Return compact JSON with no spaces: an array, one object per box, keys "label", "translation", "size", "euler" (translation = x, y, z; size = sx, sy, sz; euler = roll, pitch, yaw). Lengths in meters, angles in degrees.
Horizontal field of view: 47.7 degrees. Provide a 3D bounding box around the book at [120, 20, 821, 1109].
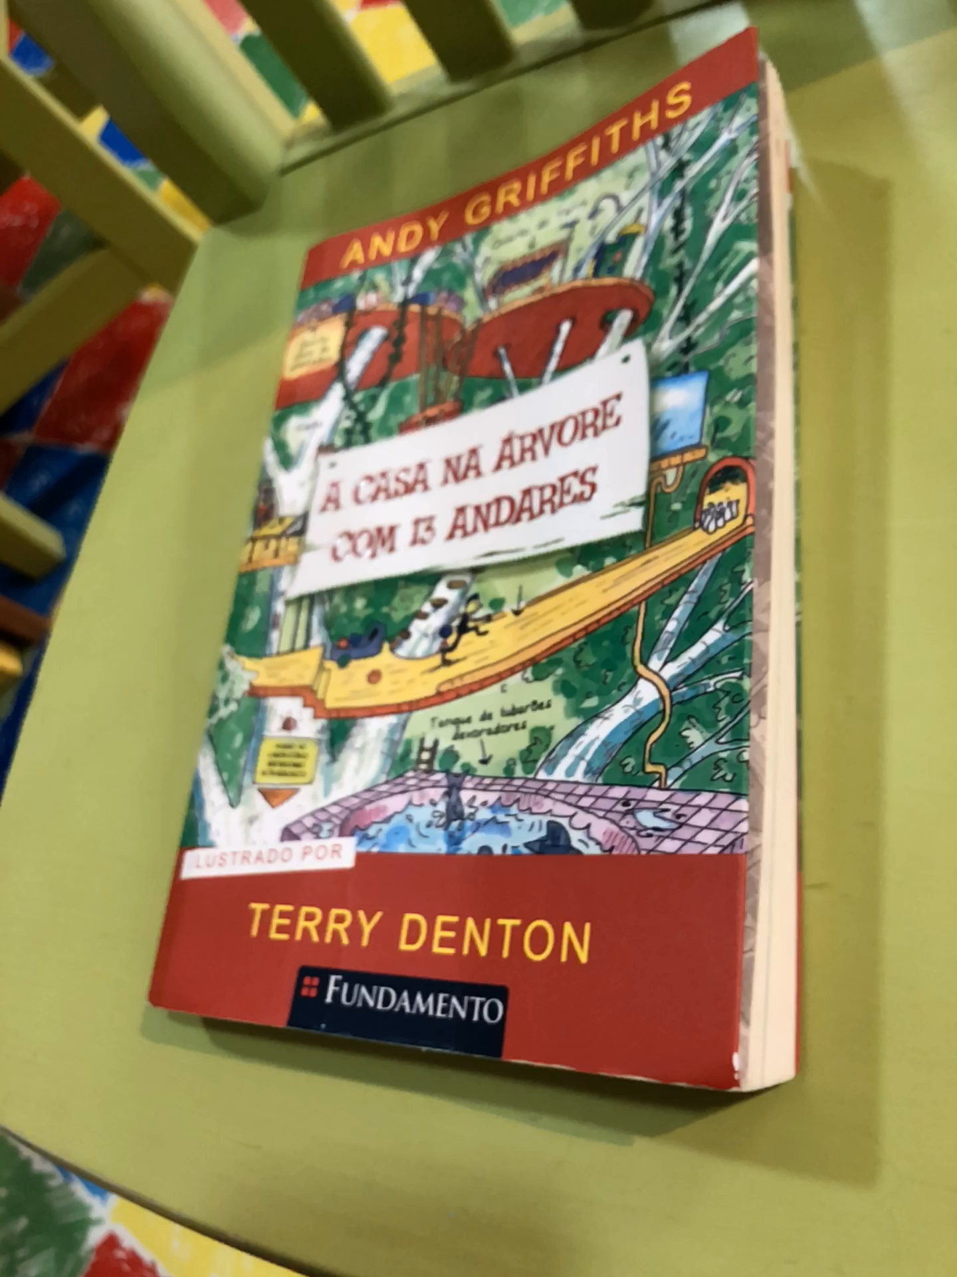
[{"label":"book","translation":[0.002,-0.018,0.245],"size":[0.137,0.040,0.210],"euler":[-8,65,35]}]
